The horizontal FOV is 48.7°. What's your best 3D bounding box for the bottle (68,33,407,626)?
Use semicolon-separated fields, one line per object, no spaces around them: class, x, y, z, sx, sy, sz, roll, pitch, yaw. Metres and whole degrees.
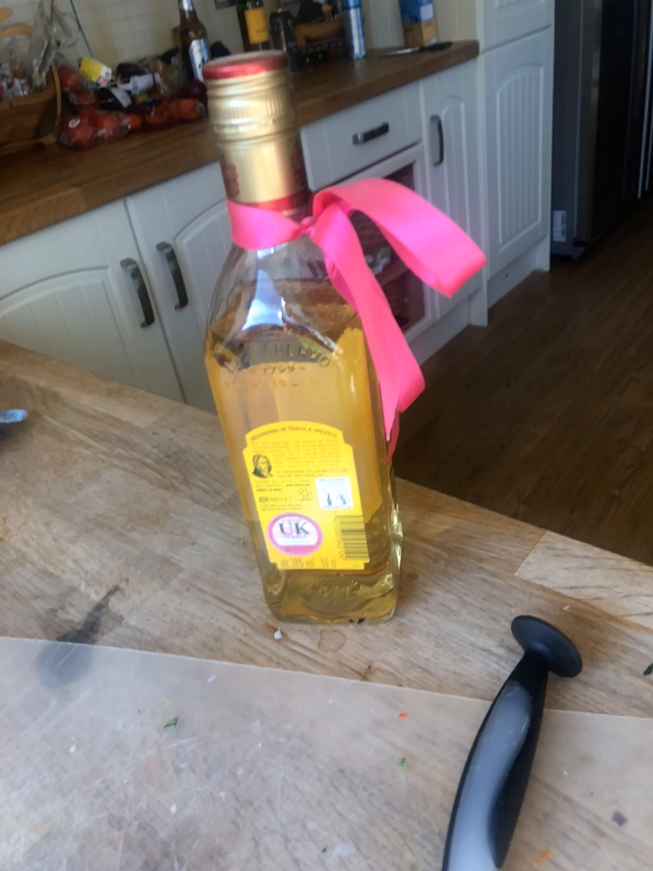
bottle;-0.017;-0.028;0.299;0.080;0.228;0.071;-4;33;10
